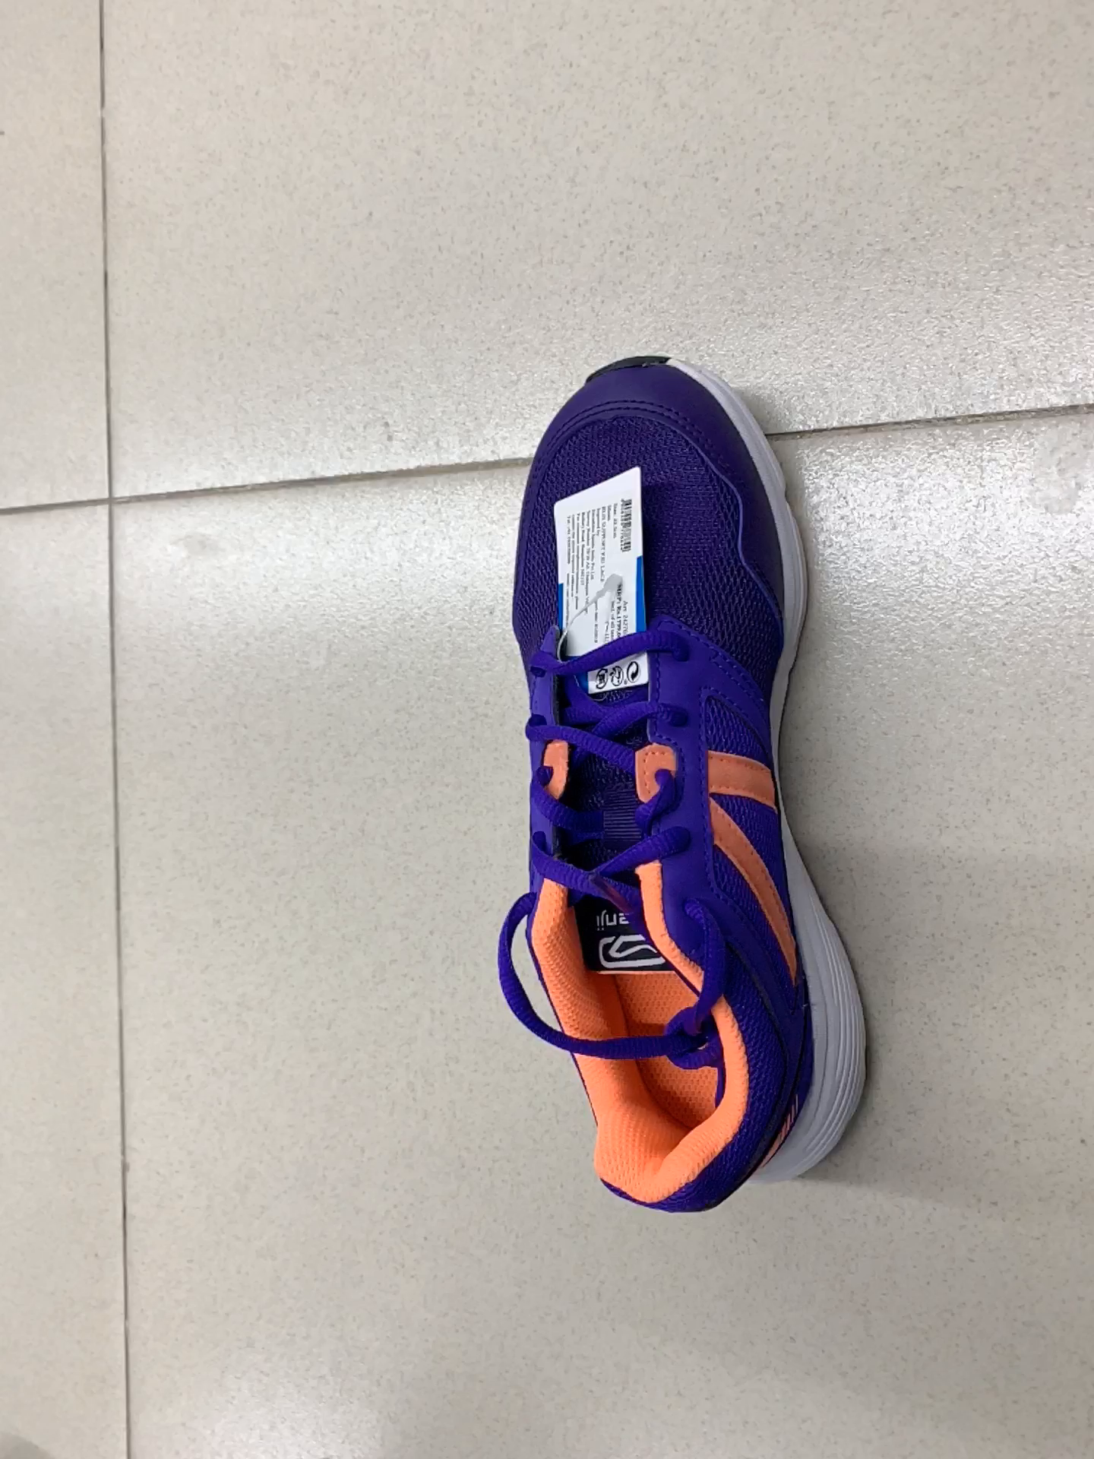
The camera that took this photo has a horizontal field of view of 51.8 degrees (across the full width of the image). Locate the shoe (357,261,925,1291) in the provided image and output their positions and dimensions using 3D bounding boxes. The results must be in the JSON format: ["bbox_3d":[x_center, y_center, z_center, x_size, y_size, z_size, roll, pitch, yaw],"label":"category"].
[{"bbox_3d":[0.033,0.015,0.338,0.100,0.100,0.250,-10,88,28],"label":"shoe"}]
